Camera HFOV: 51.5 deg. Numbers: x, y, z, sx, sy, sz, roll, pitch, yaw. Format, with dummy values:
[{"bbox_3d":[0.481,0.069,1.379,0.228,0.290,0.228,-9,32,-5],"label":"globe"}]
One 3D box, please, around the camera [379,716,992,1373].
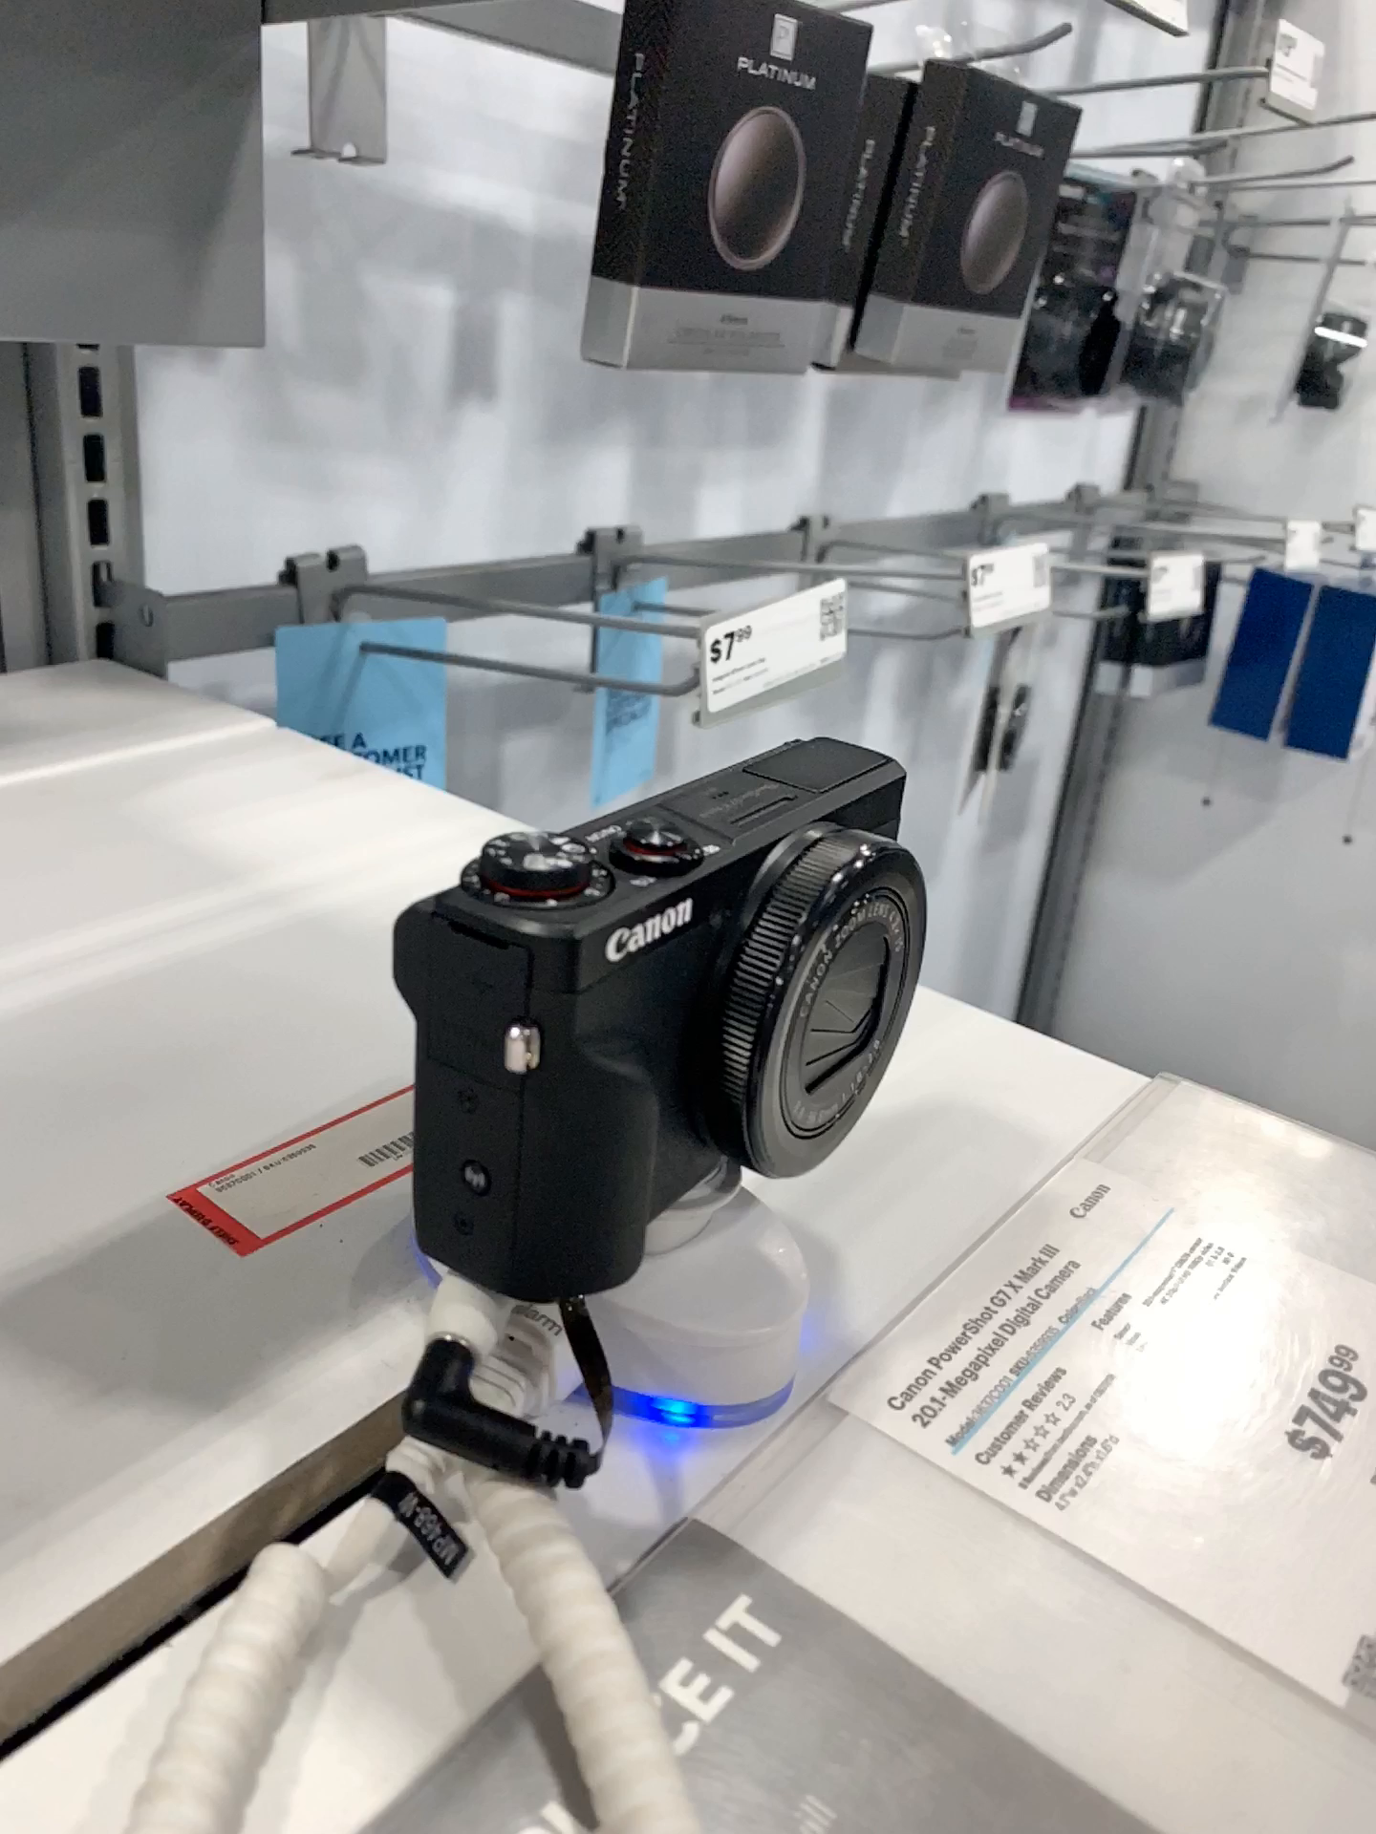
[{"bbox_3d":[0.004,0.011,0.231,0.040,0.062,0.110,19,26,29],"label":"camera"}]
